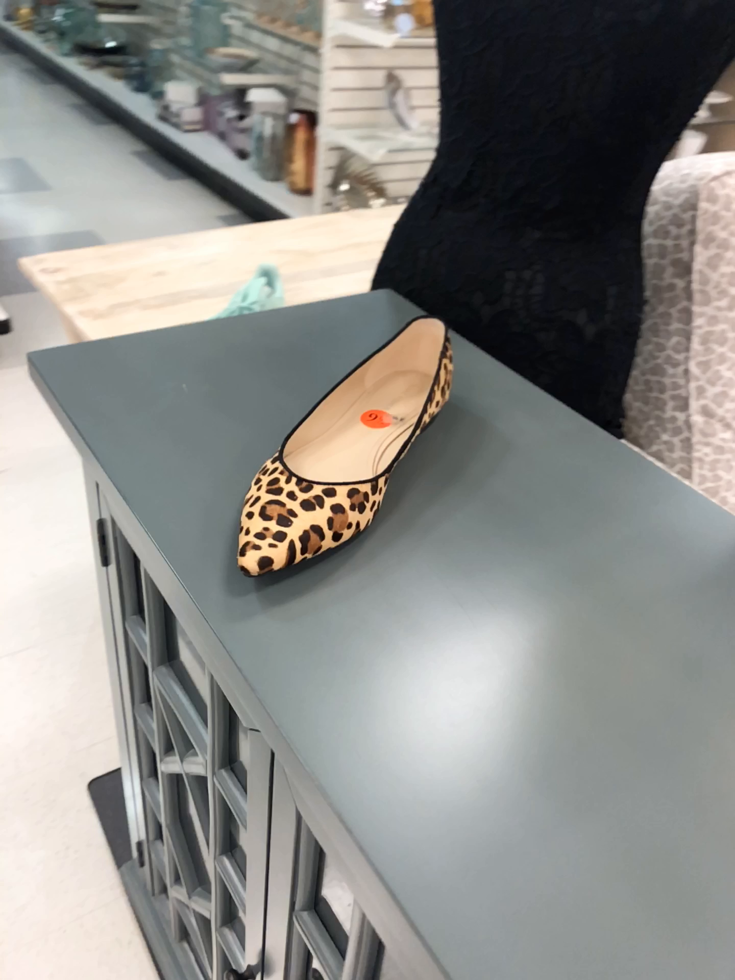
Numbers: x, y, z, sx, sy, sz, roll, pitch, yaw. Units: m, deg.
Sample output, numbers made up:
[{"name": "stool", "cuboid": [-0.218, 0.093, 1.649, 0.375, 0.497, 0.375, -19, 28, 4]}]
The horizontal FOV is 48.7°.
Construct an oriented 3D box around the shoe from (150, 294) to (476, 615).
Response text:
[{"name": "shoe", "cuboid": [-0.021, -0.045, 0.566, 0.097, 0.073, 0.287, 19, 37, 17]}]
